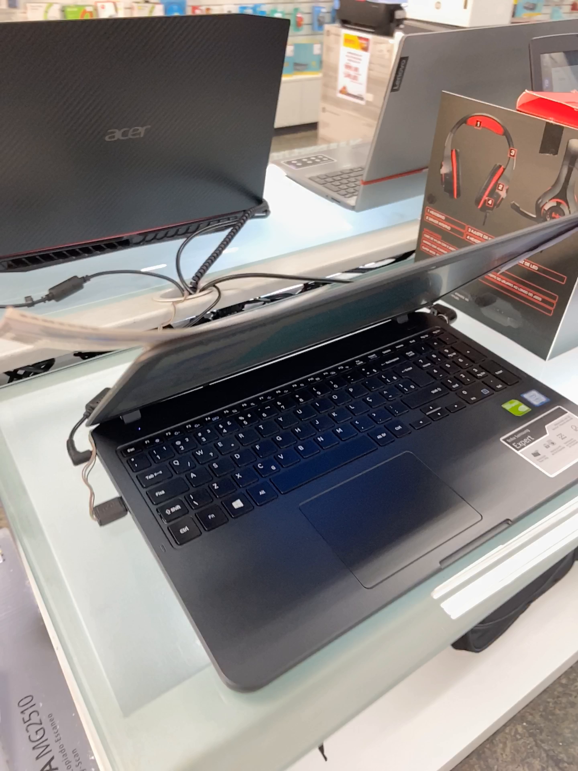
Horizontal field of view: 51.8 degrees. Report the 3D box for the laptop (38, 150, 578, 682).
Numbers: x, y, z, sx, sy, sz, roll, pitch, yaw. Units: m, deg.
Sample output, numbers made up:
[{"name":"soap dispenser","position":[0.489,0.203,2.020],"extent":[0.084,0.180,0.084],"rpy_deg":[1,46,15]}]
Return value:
[{"name":"laptop","position":[0.060,-0.027,0.435],"extent":[0.372,0.170,0.237],"rpy_deg":[-21,43,-27]}]
